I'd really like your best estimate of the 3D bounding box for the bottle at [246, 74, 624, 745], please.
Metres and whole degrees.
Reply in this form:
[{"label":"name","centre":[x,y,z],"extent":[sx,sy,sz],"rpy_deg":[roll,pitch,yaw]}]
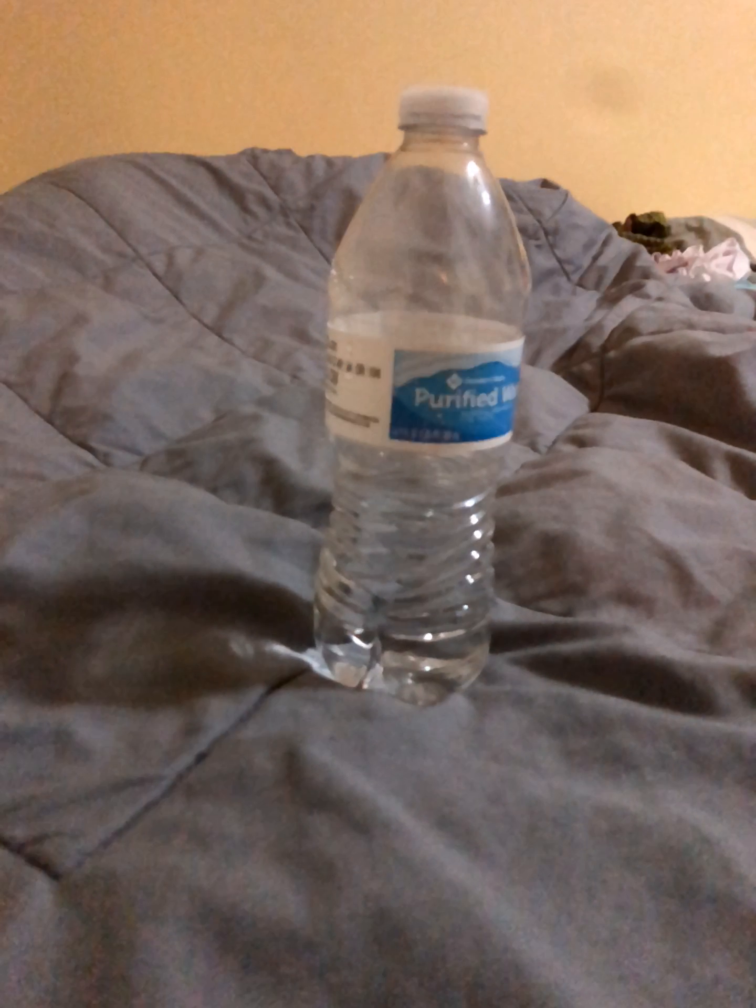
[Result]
[{"label":"bottle","centre":[0.013,-0.032,0.280],"extent":[0.080,0.190,0.080],"rpy_deg":[1,21,0]}]
